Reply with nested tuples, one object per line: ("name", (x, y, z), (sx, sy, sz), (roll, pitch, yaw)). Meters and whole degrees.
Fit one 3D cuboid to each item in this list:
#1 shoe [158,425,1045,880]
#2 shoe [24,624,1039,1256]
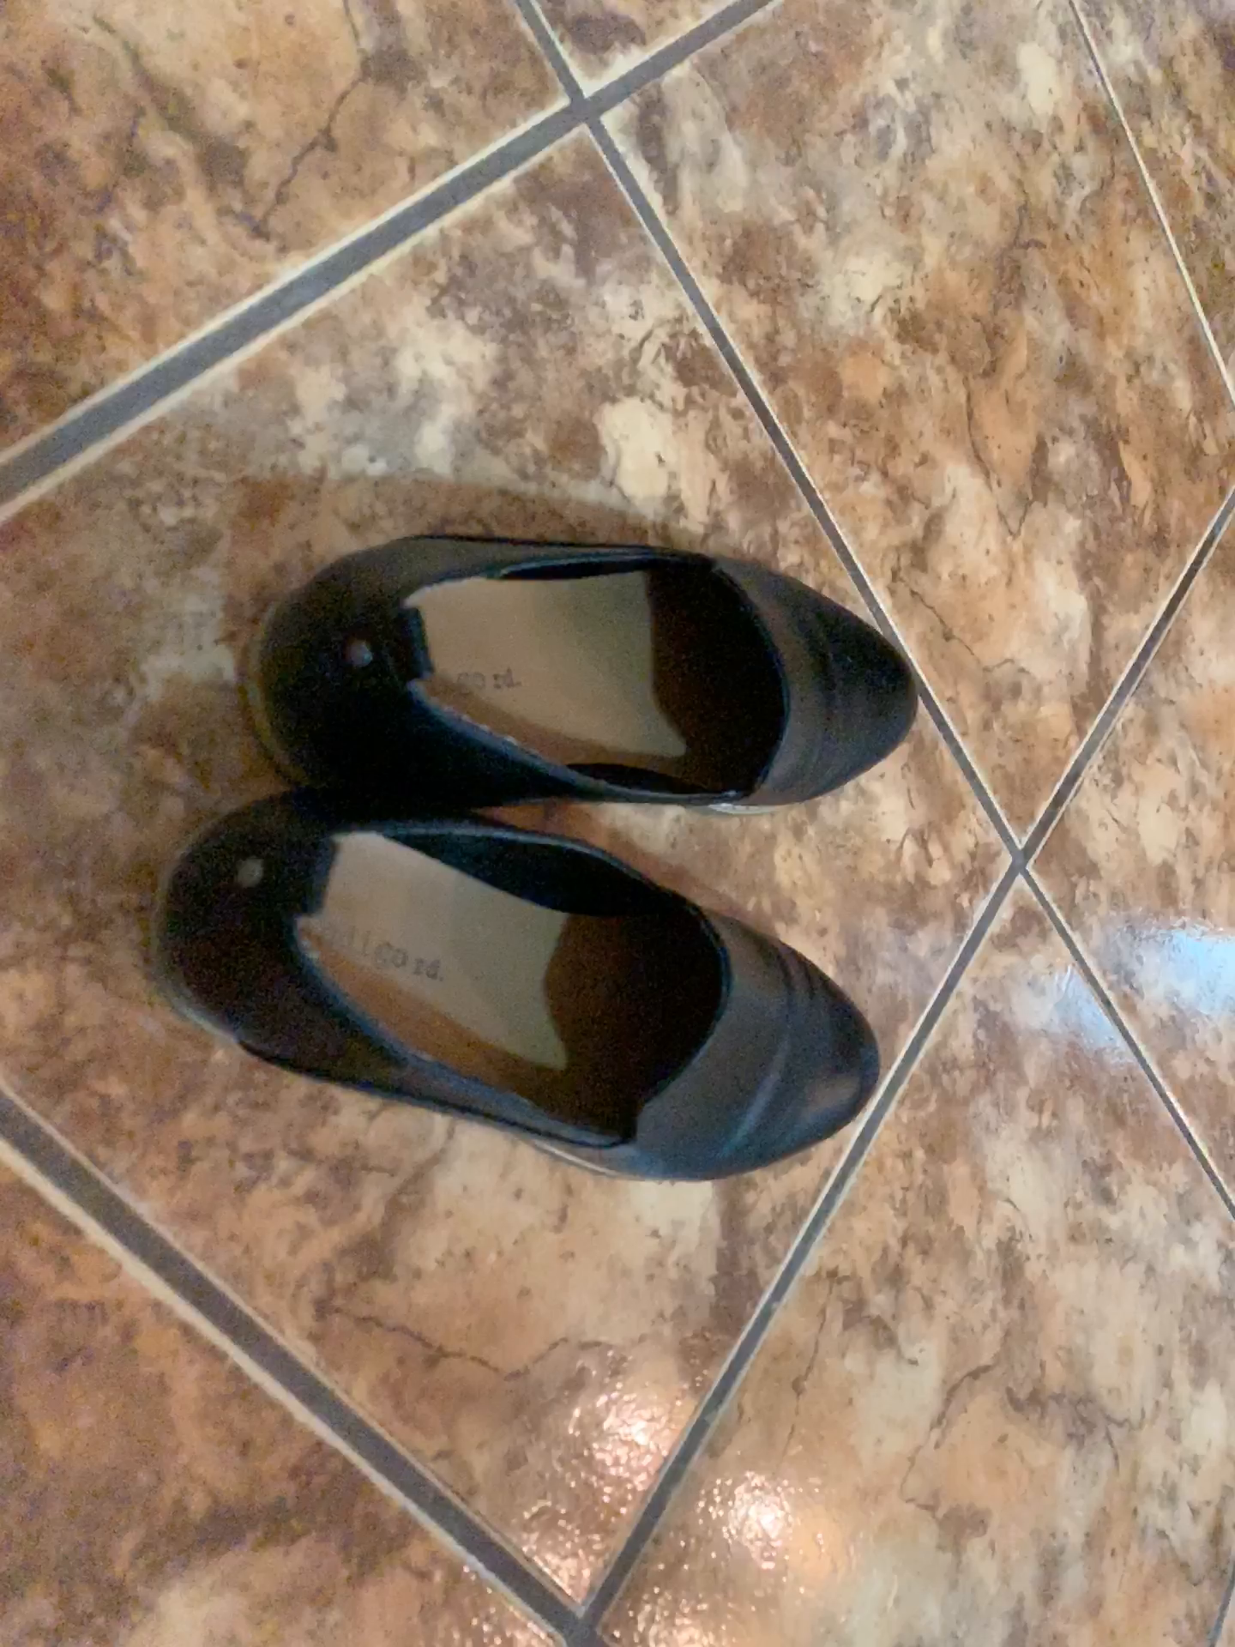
("shoe", (0.014, -0.040, 0.356), (0.257, 0.070, 0.087), (-4, 87, -39))
("shoe", (0.001, 0.046, 0.324), (0.257, 0.070, 0.086), (22, 71, -35))
